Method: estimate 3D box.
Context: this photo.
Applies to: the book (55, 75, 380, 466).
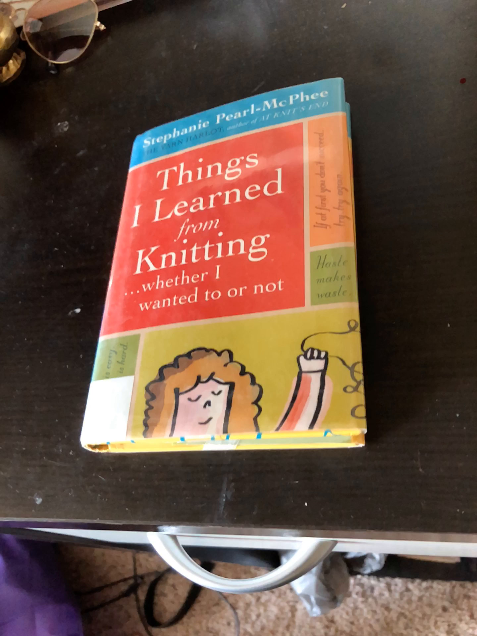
[{"bbox_3d":[-0.006,-0.024,0.231,0.118,0.023,0.166,-7,61,19],"label":"book"}]
